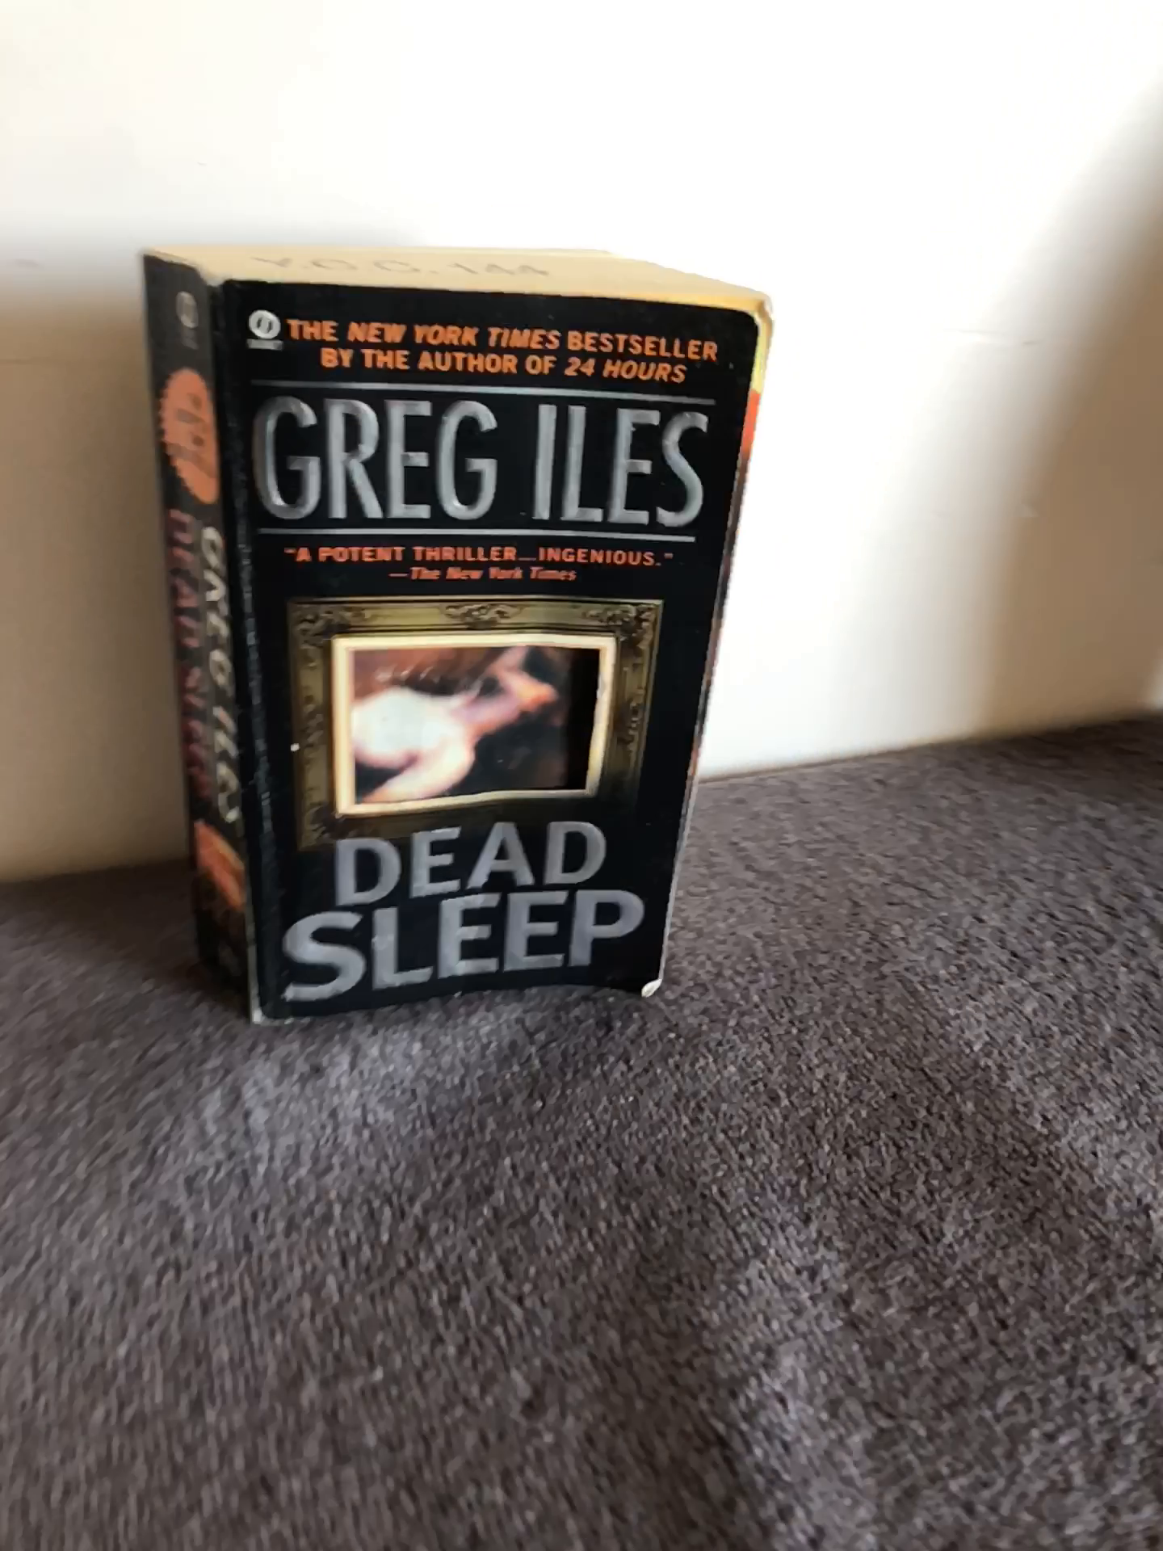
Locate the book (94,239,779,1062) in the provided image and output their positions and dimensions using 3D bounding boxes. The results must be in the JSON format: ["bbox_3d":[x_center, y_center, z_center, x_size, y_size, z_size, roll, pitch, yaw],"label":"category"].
[{"bbox_3d":[-0.035,-0.028,0.292,0.123,0.163,0.061,-6,31,-18],"label":"book"}]
